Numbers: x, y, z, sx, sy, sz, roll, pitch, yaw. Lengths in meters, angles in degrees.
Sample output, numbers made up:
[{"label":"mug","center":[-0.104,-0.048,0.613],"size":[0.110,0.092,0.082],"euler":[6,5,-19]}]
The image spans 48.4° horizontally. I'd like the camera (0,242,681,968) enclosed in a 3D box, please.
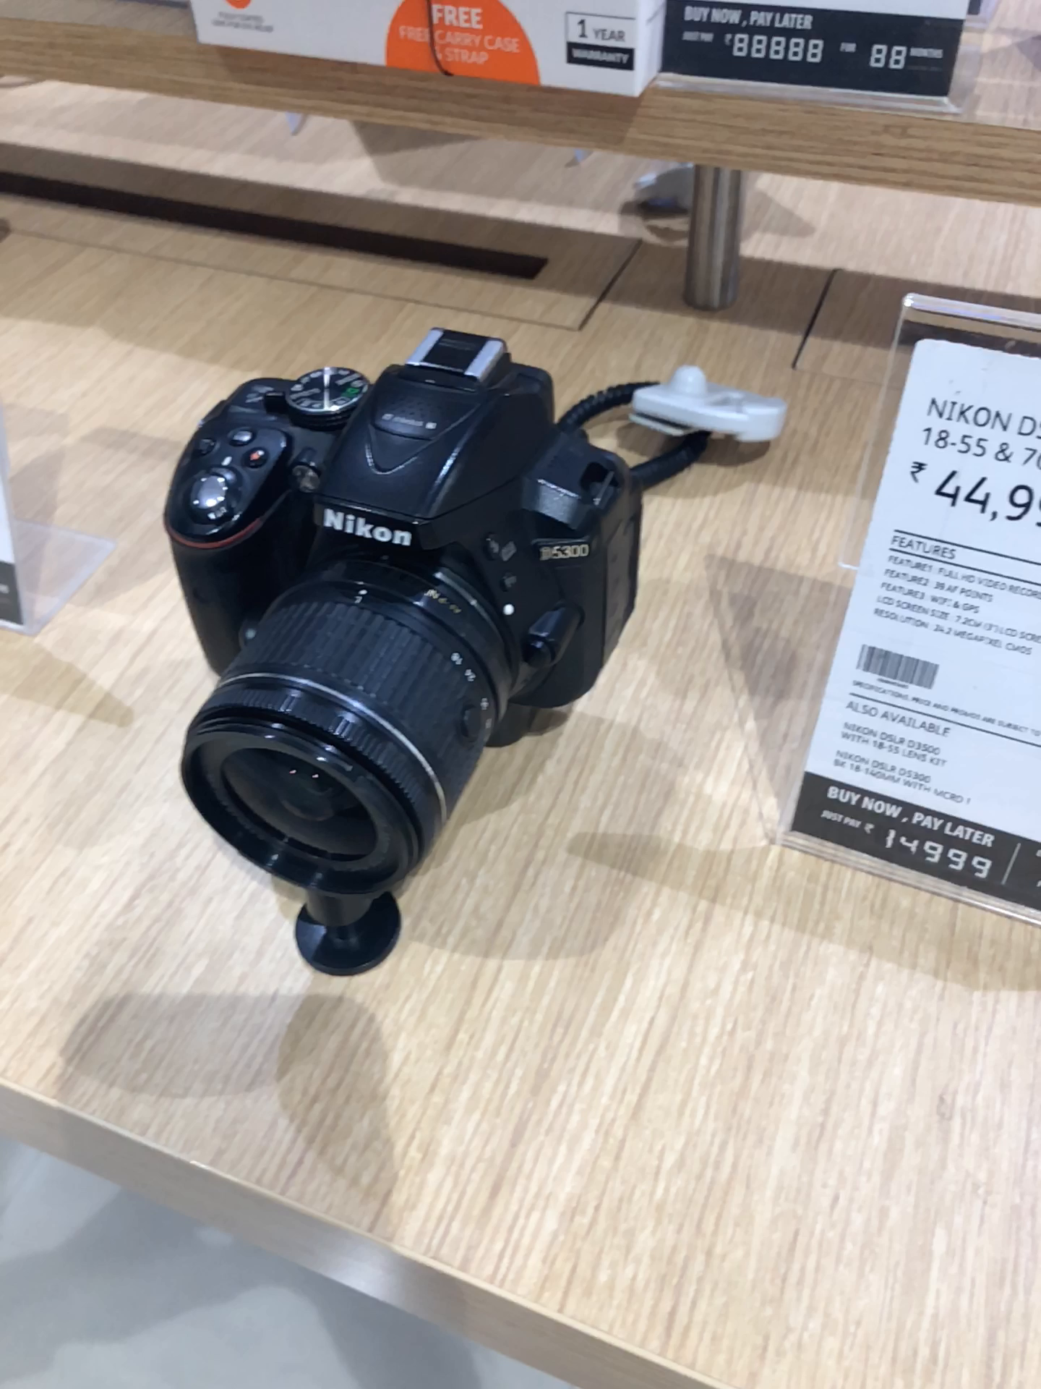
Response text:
[{"label":"camera","center":[-0.047,-0.034,0.283],"size":[0.130,0.070,0.151],"euler":[15,49,16]}]
